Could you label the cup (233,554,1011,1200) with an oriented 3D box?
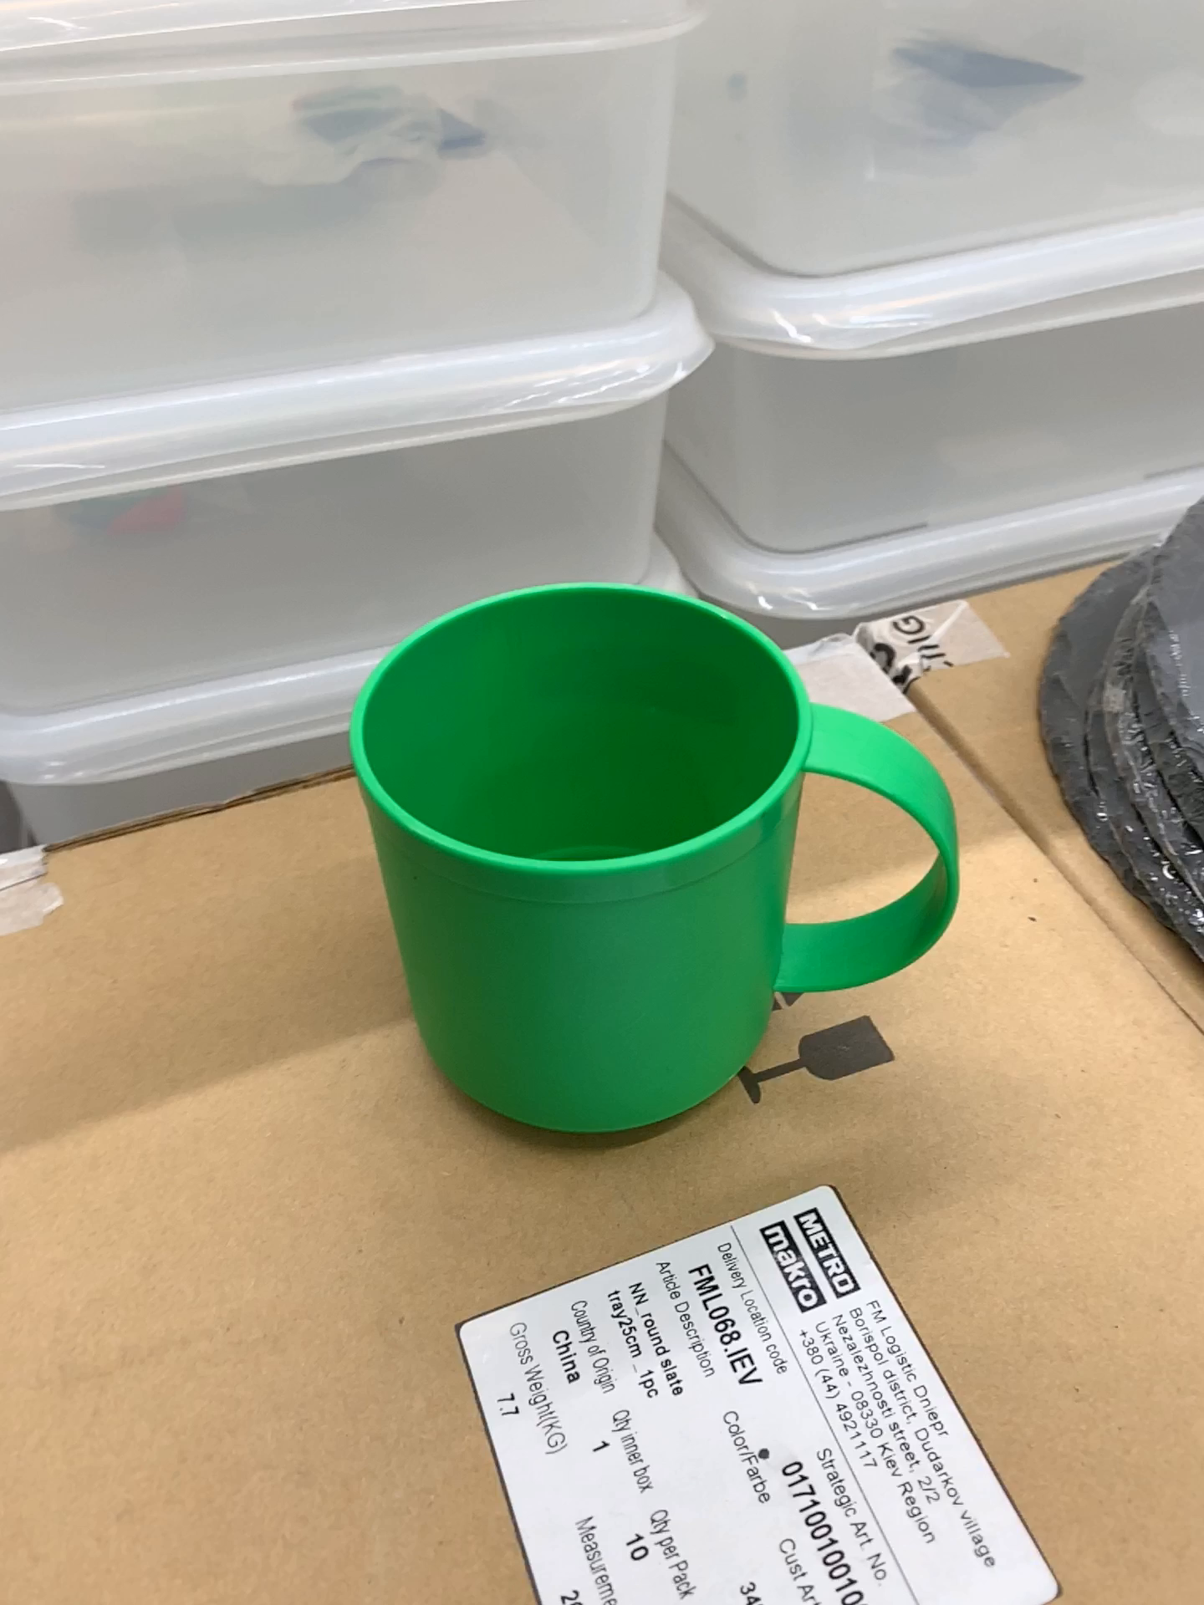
[{"bbox_3d":[0.008,0.010,0.217,0.105,0.069,0.076,5,42,9],"label":"cup"}]
